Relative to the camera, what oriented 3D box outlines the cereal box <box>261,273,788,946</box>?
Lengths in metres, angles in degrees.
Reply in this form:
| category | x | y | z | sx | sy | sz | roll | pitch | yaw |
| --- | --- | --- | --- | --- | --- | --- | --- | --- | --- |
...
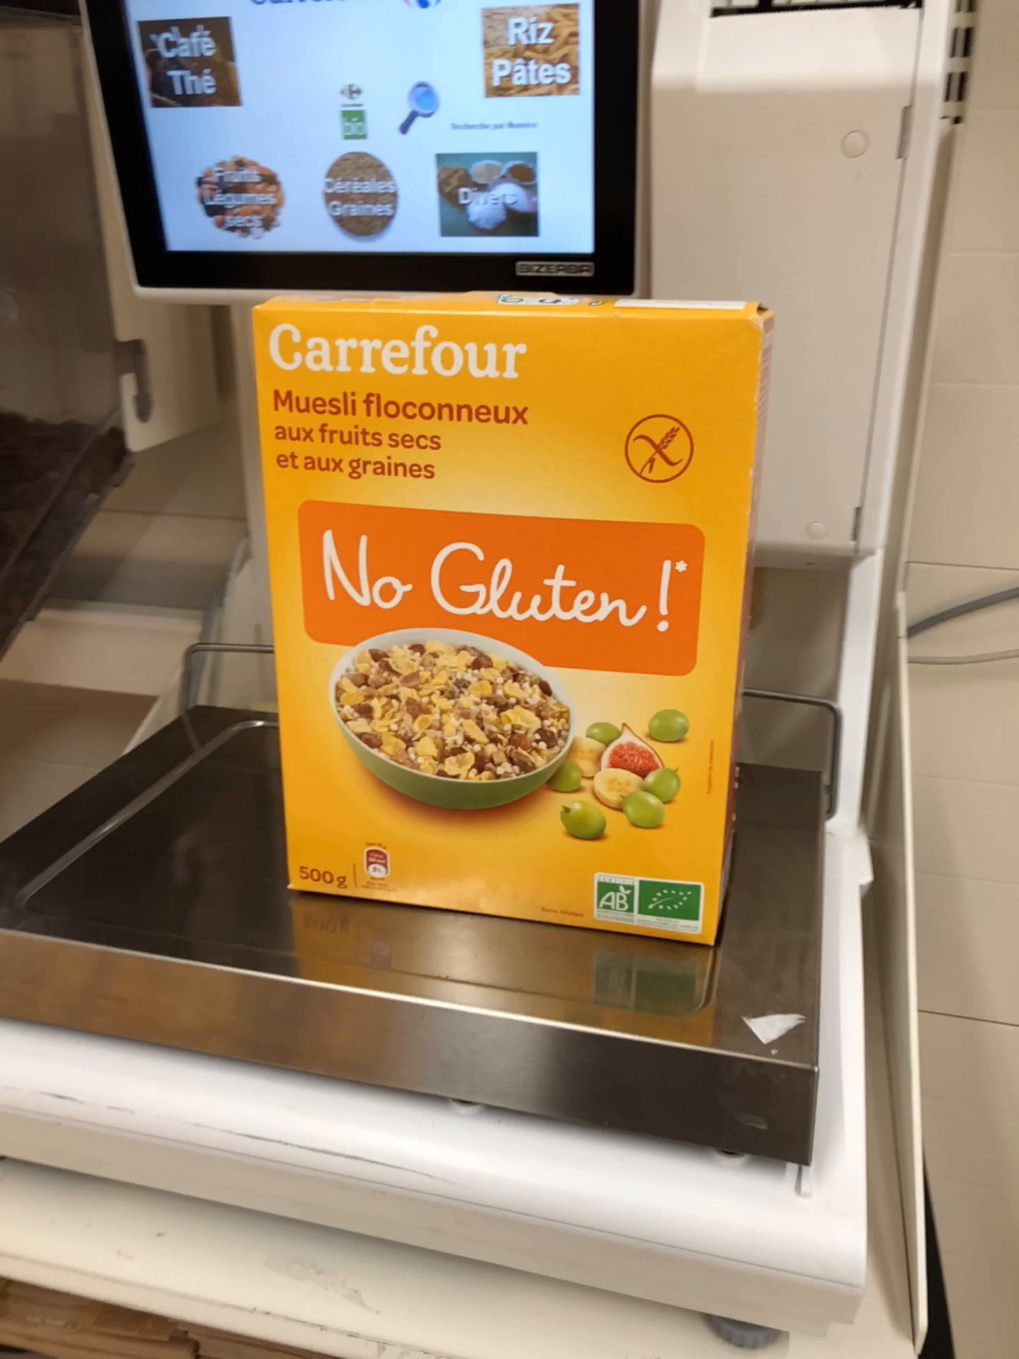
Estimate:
| category | x | y | z | sx | sy | sz | roll | pitch | yaw |
| --- | --- | --- | --- | --- | --- | --- | --- | --- | --- |
| cereal box | 0.005 | -0.028 | 0.463 | 0.190 | 0.259 | 0.050 | 5 | 21 | 13 |
